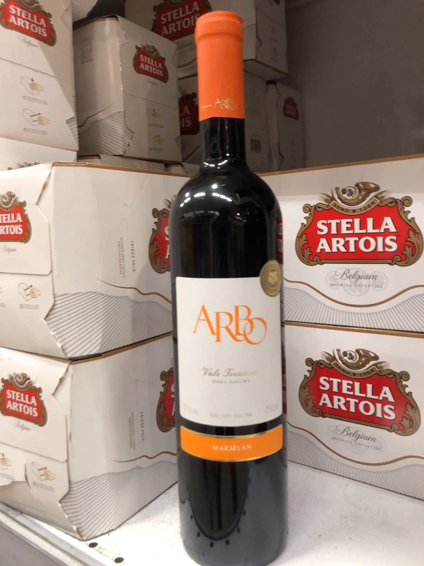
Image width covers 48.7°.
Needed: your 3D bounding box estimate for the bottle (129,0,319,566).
[{"bbox_3d":[0.010,0.003,0.270,0.080,0.309,0.070,-3,7,0],"label":"bottle"}]
